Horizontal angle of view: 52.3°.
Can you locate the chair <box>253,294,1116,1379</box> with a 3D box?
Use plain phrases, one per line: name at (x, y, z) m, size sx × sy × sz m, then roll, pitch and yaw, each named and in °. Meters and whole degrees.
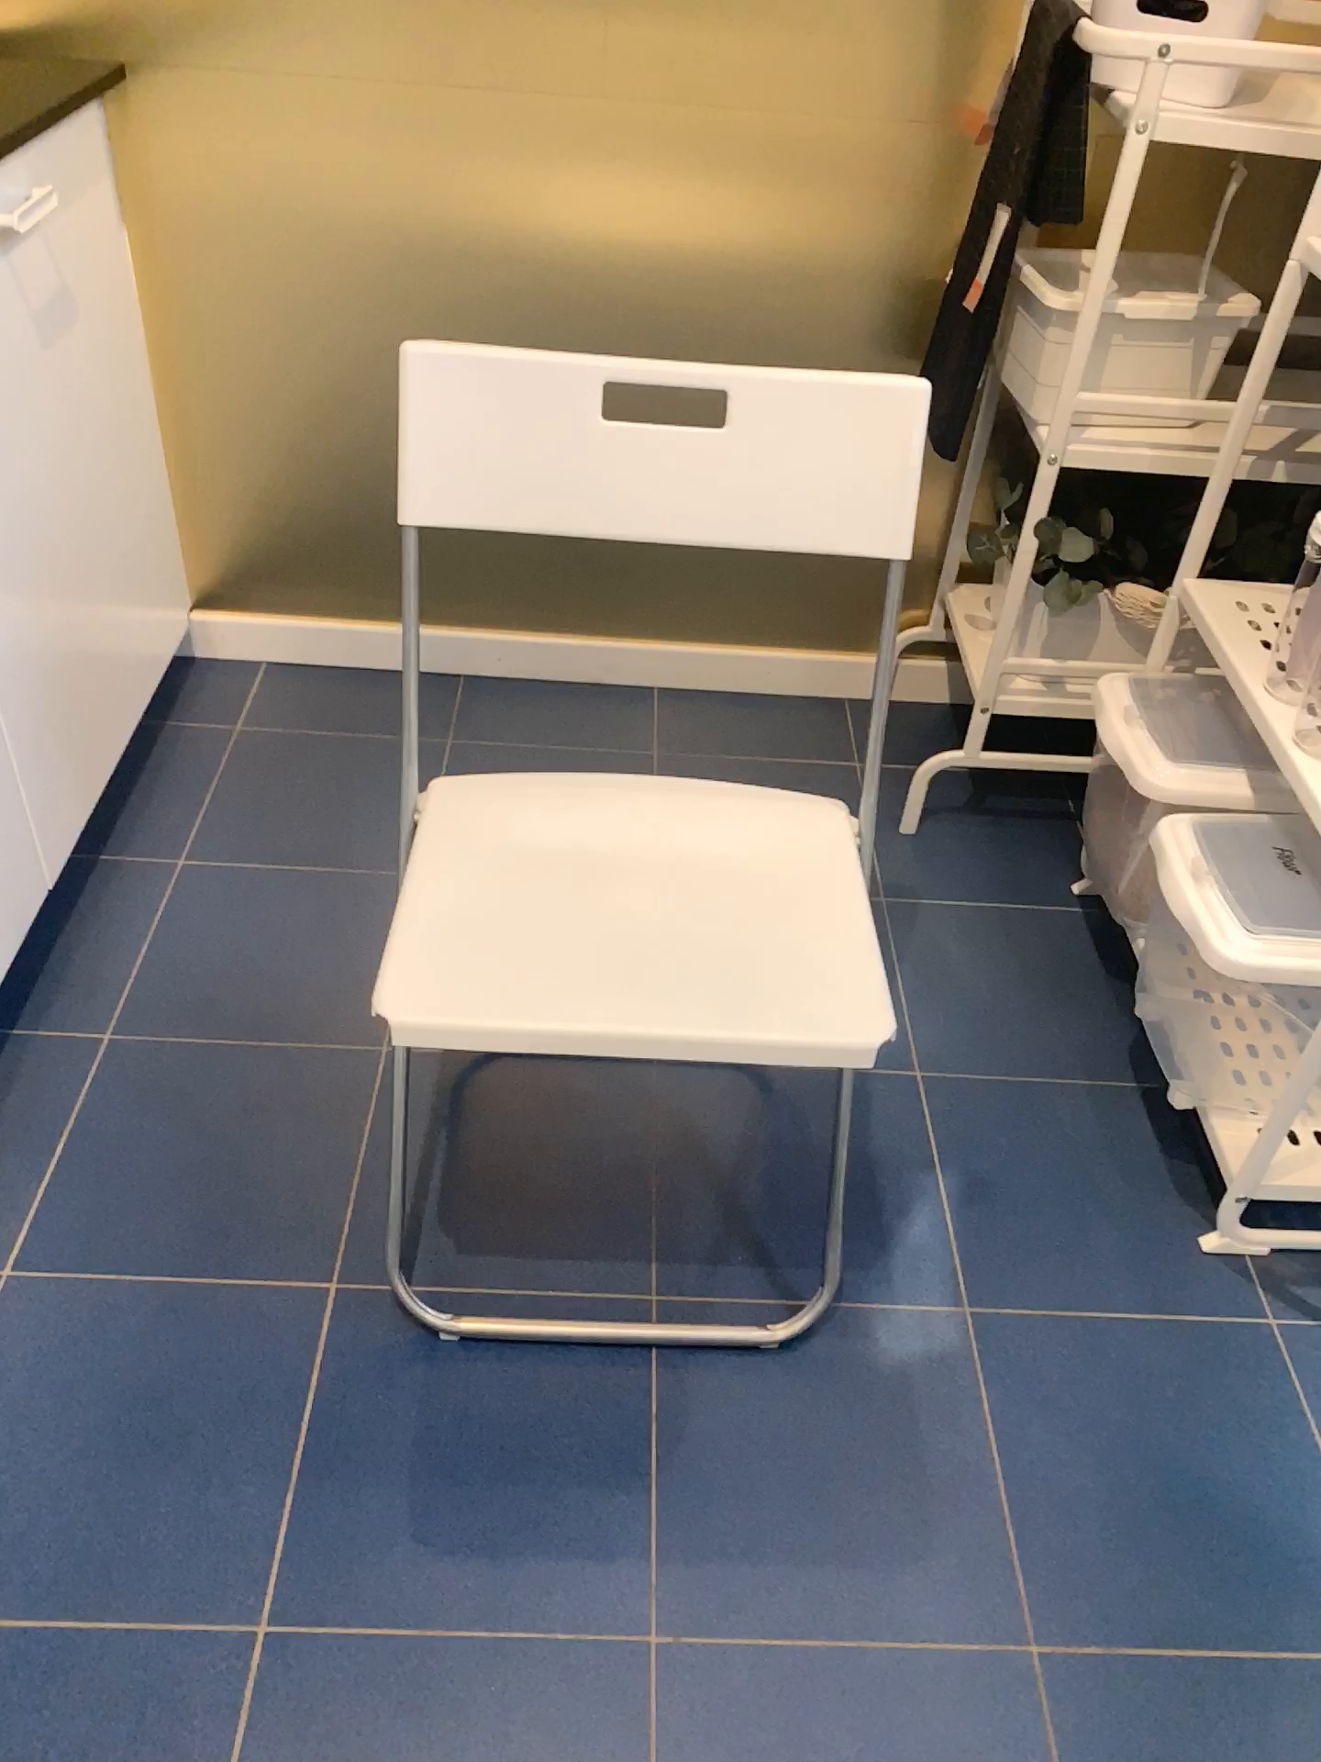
chair at (-0.009, -0.002, 1.084) m, size 0.440 × 0.747 × 0.422 m, roll 3°, pitch 40°, yaw -2°
